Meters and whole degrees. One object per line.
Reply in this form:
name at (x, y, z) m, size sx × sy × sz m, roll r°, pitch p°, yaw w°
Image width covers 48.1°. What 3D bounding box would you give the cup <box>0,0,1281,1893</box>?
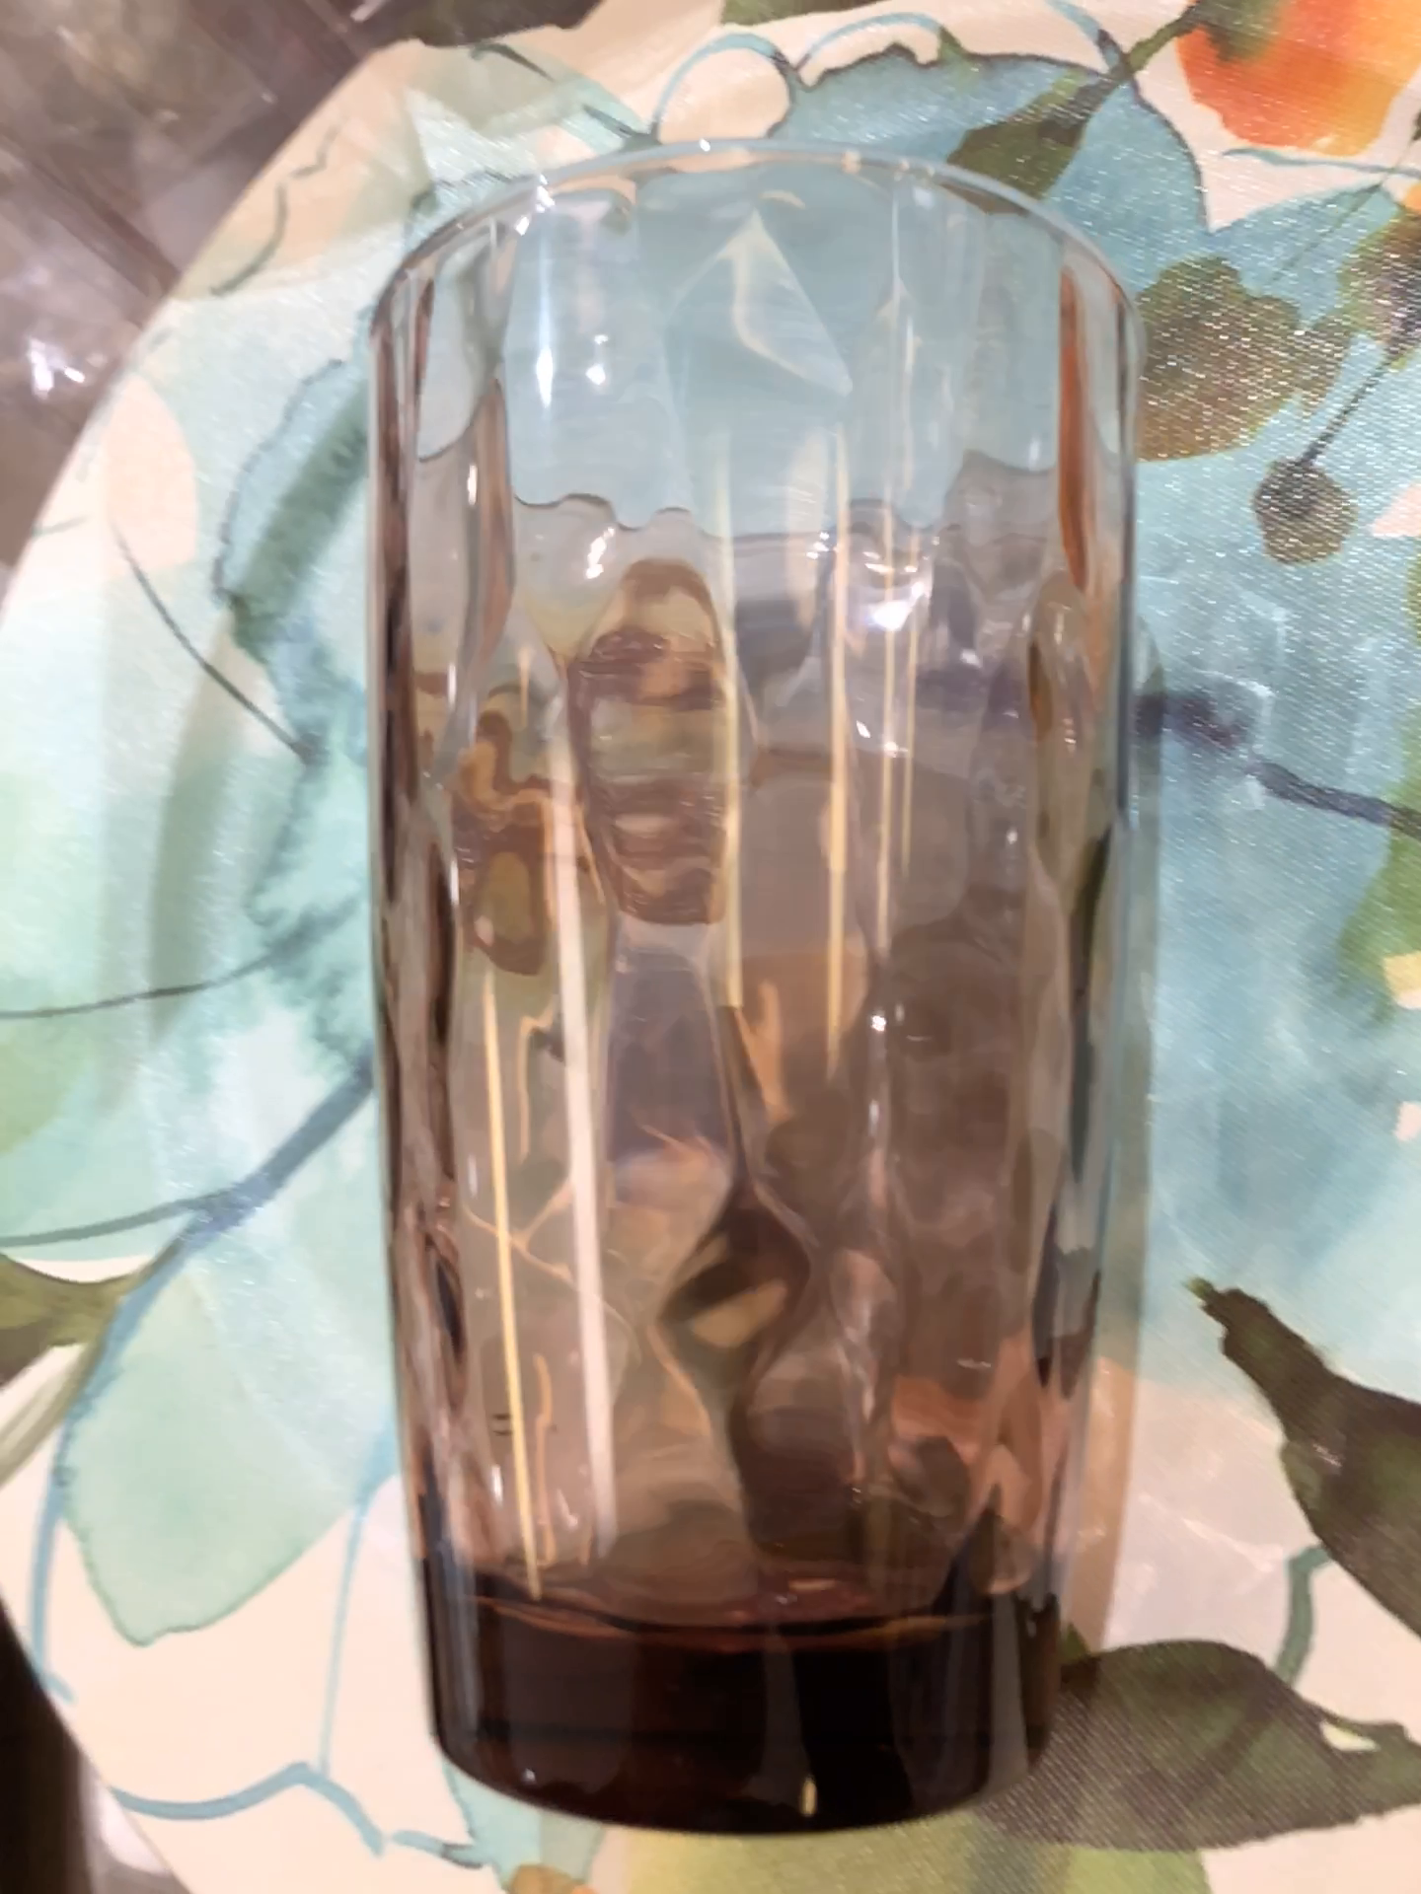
cup at (-0.001, 0.007, 0.156) m, size 0.090 × 0.080 × 0.150 m, roll -5°, pitch 72°, yaw 28°
